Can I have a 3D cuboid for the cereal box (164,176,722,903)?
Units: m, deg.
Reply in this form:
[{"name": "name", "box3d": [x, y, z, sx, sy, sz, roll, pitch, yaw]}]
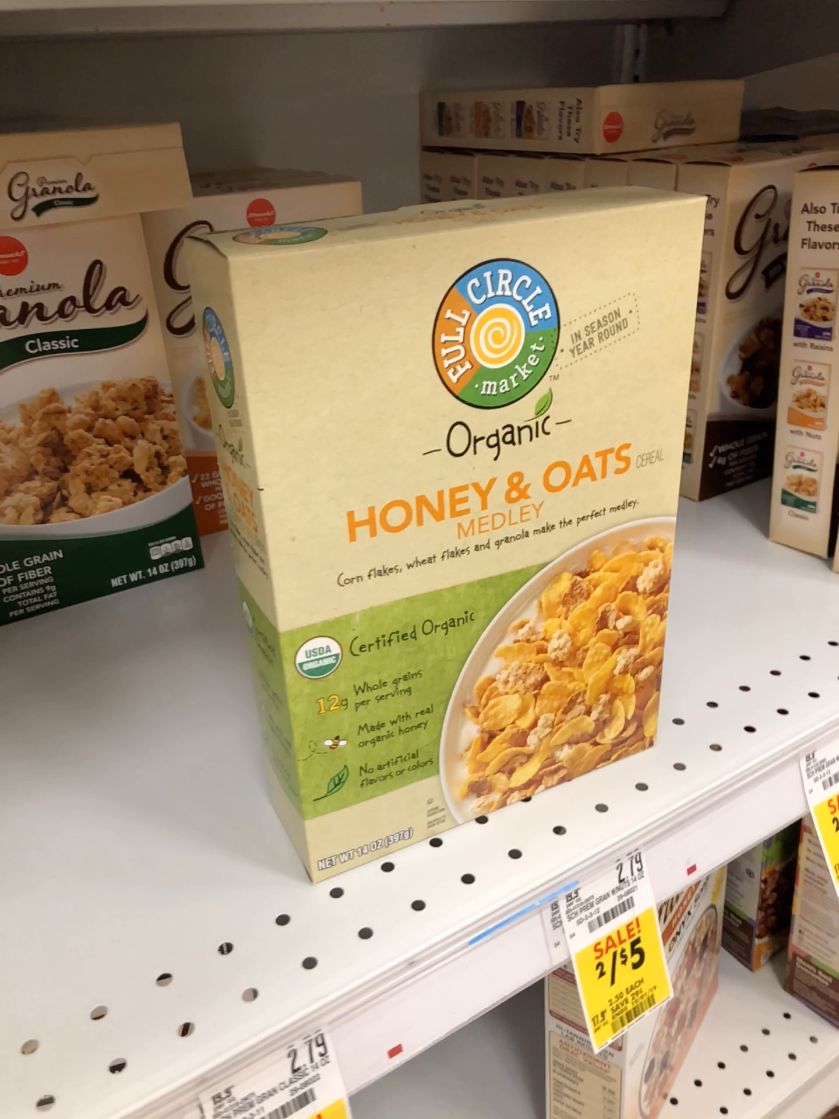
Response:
[{"name": "cereal box", "box3d": [0.018, -0.010, 0.383, 0.190, 0.259, 0.060, -15, 29, -23]}]
